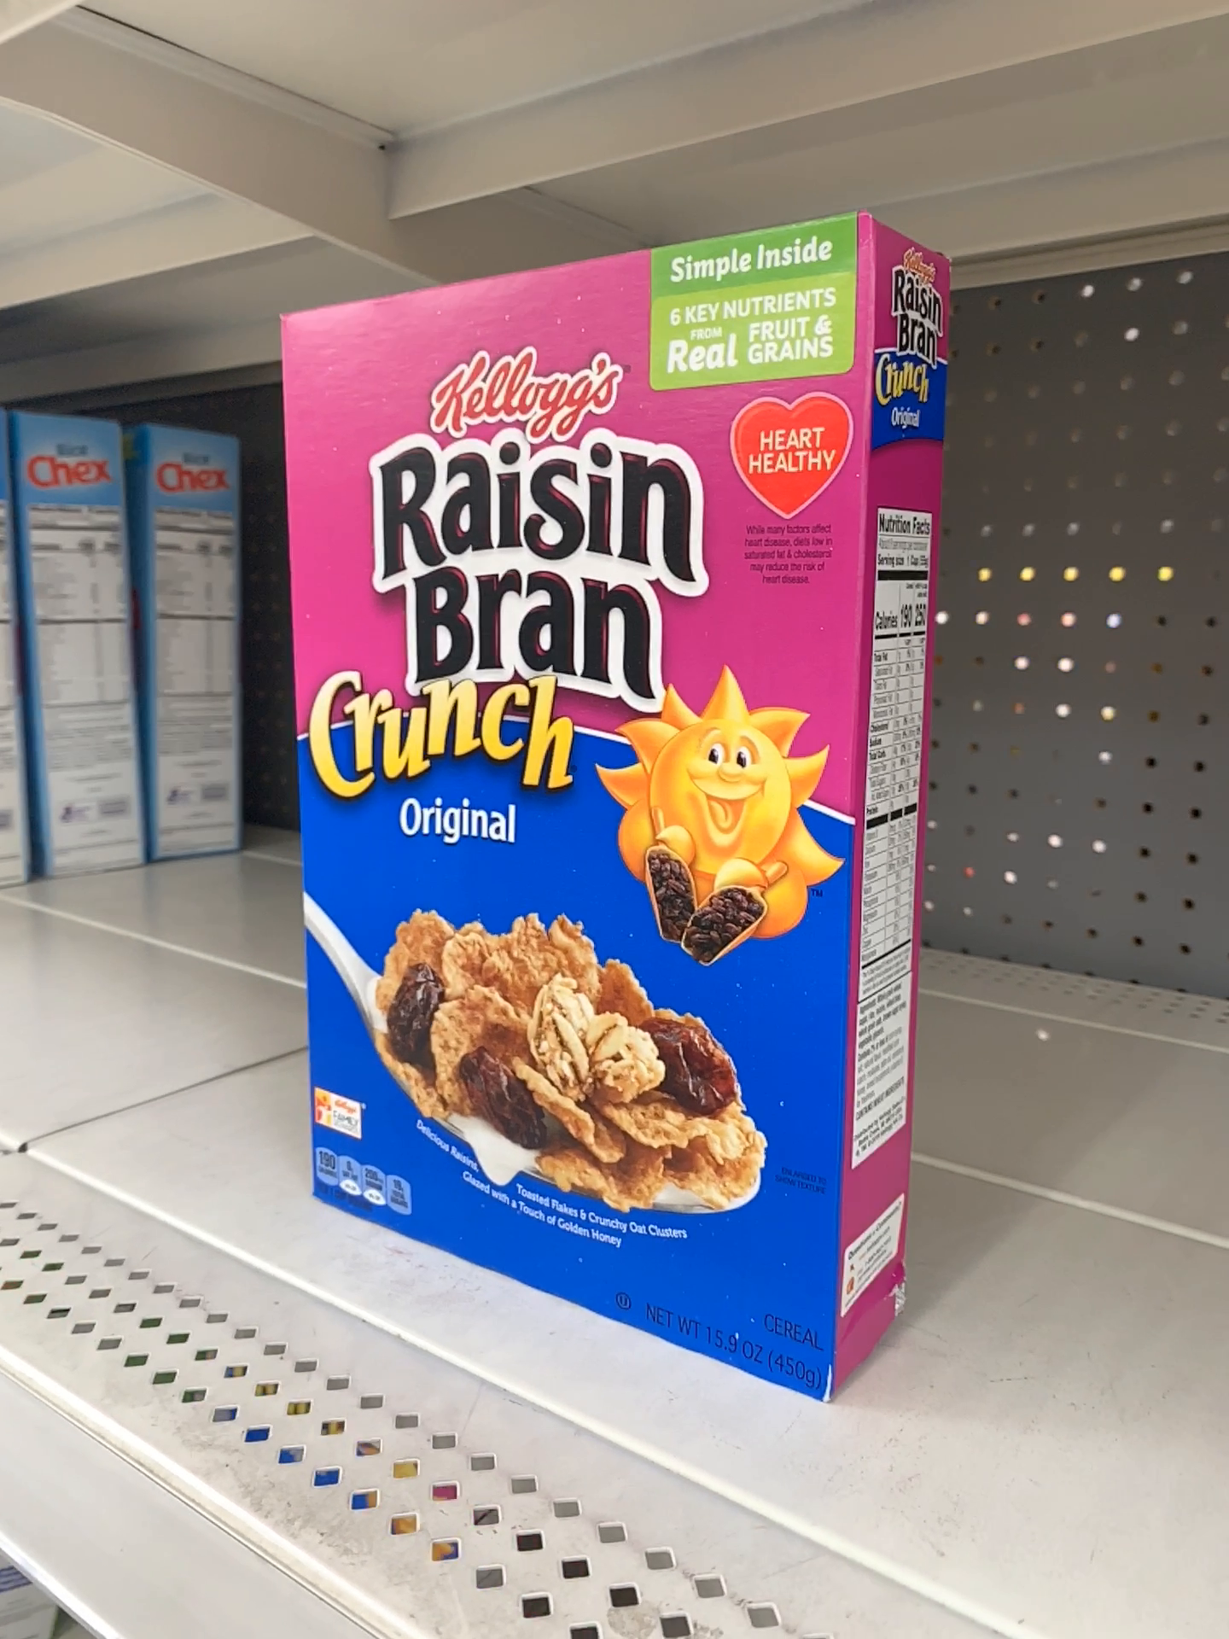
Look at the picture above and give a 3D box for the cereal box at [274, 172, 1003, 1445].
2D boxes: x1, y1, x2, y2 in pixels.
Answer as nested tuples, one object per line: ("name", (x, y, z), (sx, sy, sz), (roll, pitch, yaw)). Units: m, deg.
("cereal box", (-0.006, -0.005, 0.356), (0.200, 0.279, 0.050), (7, 11, 36))
